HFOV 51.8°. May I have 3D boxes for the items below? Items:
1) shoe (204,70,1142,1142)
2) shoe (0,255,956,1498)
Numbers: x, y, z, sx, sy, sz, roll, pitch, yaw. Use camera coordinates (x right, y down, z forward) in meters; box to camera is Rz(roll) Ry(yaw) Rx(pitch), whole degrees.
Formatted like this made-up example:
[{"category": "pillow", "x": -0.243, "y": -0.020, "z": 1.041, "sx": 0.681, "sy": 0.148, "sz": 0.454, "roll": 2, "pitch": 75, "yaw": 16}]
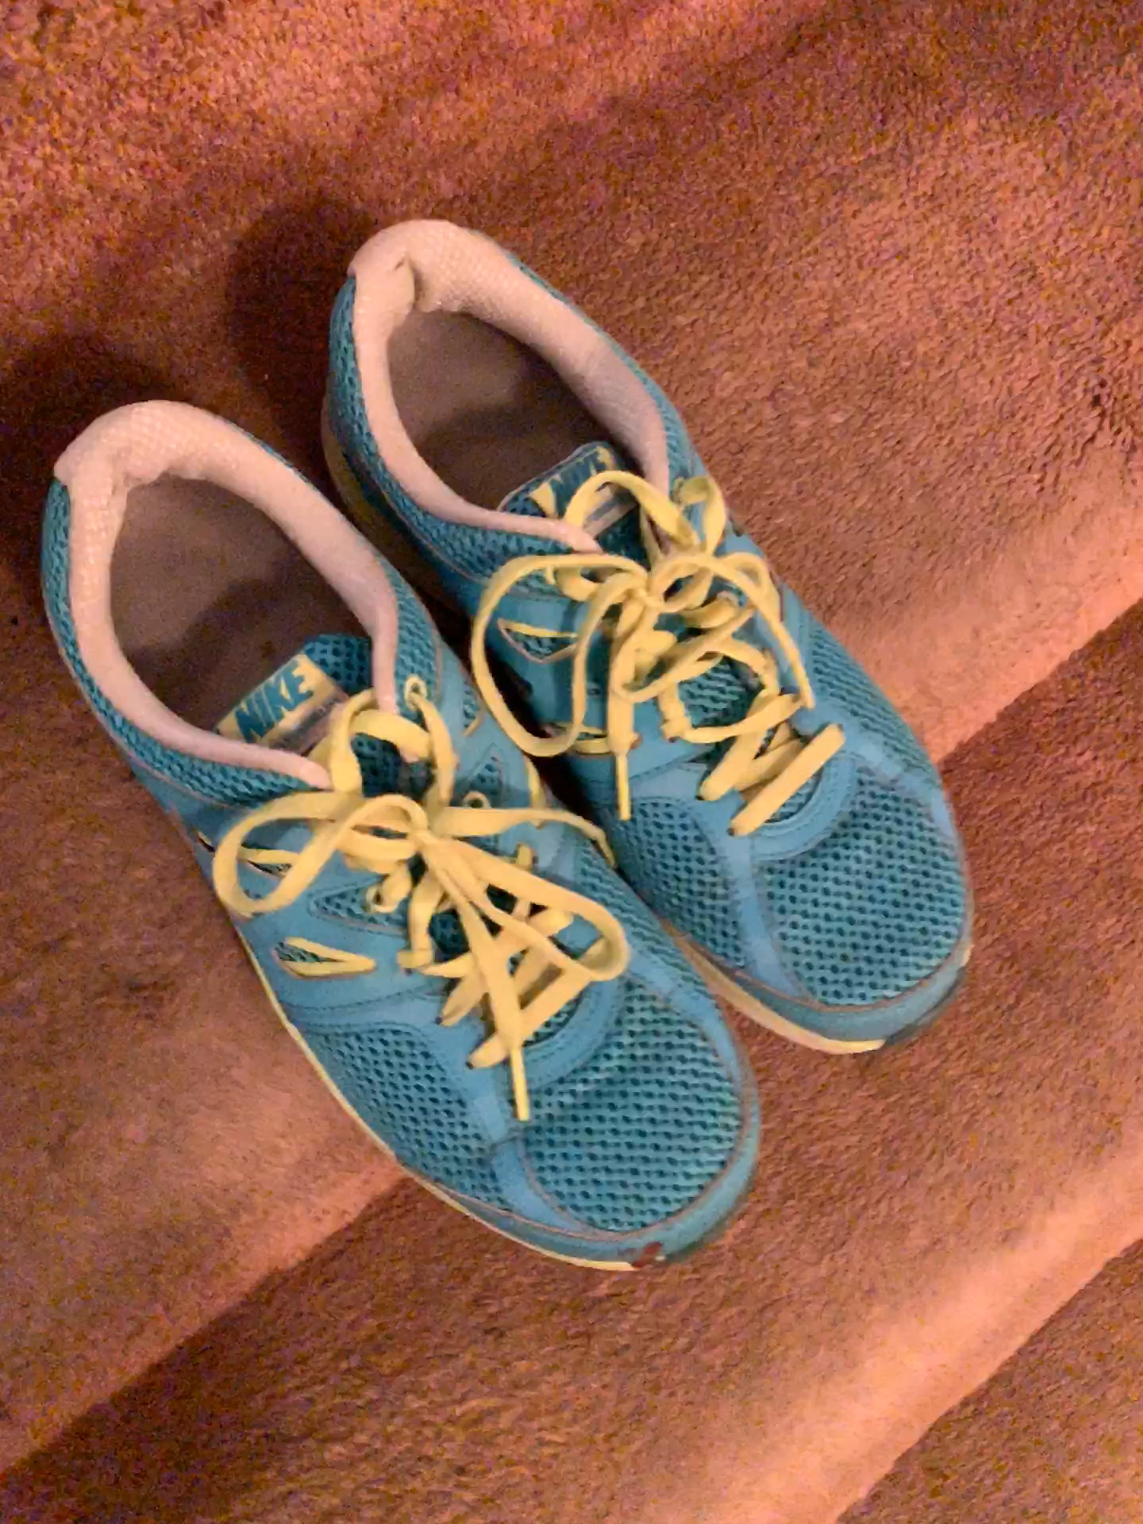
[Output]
[{"category": "shoe", "x": 0.029, "y": -0.044, "z": 0.338, "sx": 0.110, "sy": 0.100, "sz": 0.280, "roll": -35, "pitch": 76, "yaw": -14}, {"category": "shoe", "x": -0.054, "y": 0.018, "z": 0.312, "sx": 0.110, "sy": 0.100, "sz": 0.280, "roll": -38, "pitch": 77, "yaw": -14}]
